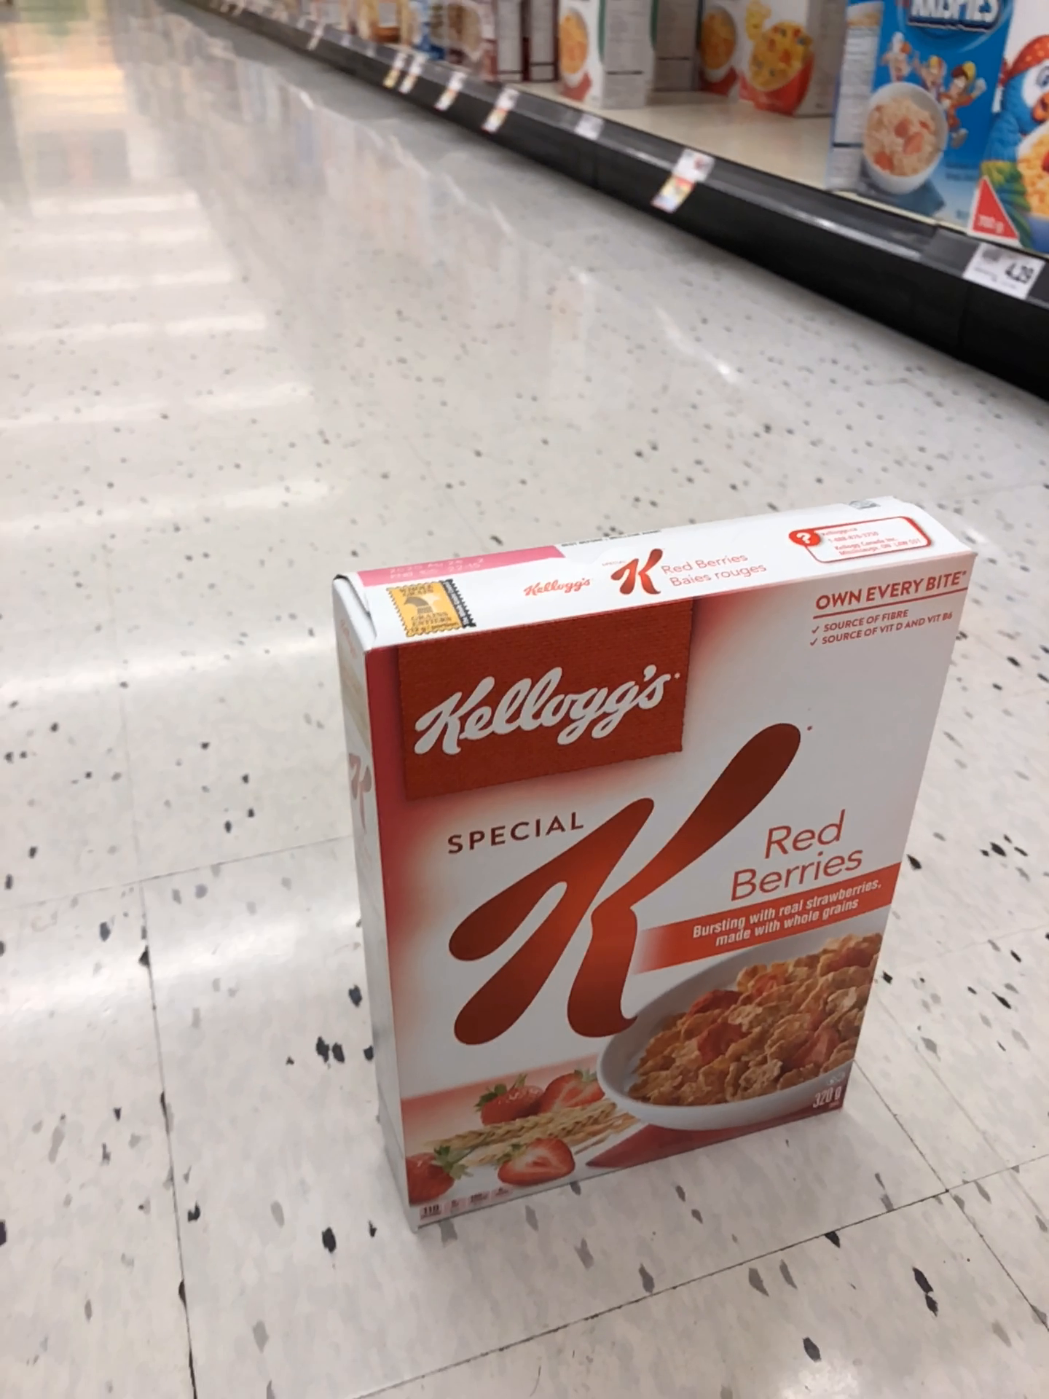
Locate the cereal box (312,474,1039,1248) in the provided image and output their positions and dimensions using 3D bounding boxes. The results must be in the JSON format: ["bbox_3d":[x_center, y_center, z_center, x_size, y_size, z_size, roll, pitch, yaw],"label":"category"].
[{"bbox_3d":[0.045,0.064,0.417,0.210,0.258,0.060,-9,34,-15],"label":"cereal box"}]
